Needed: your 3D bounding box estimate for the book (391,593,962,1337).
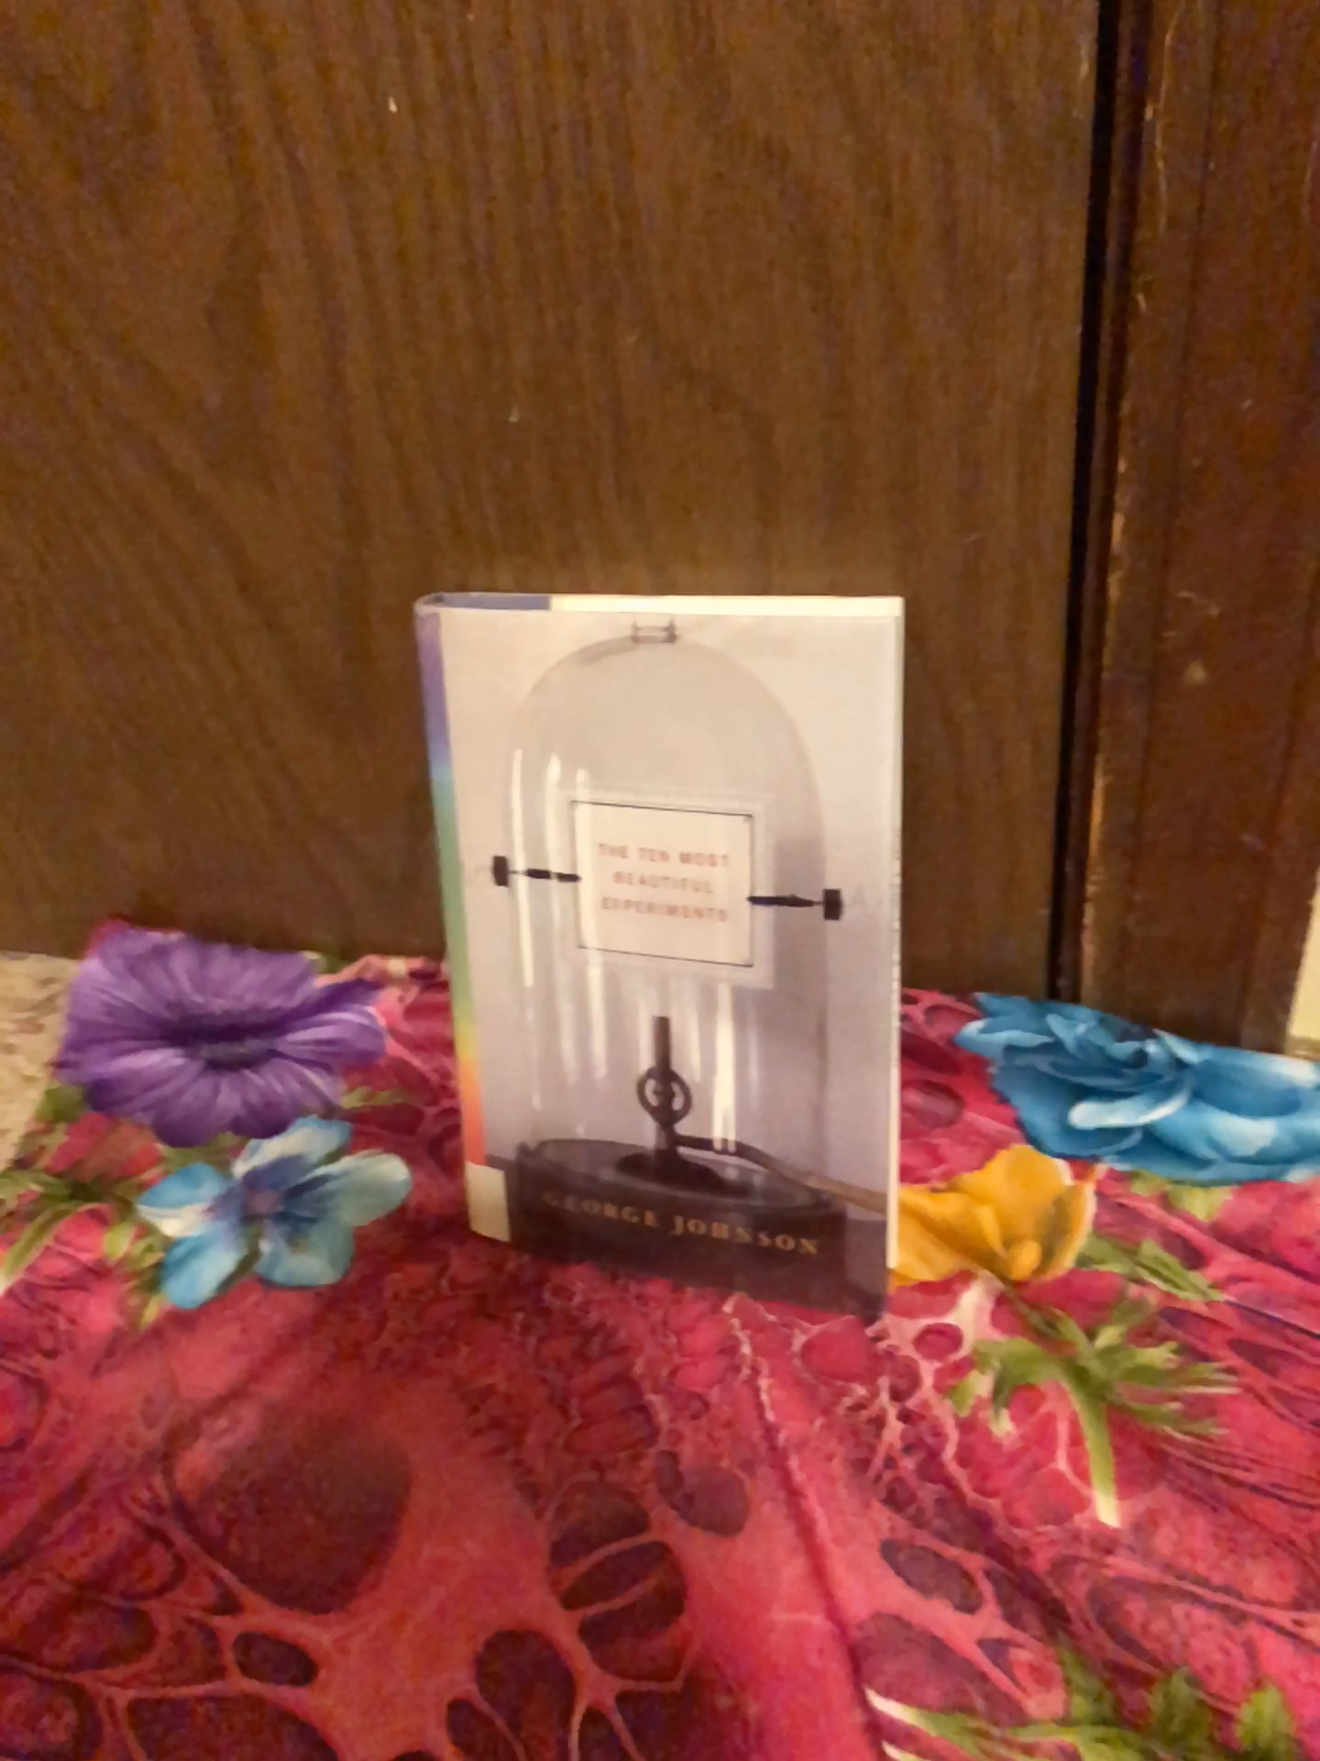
[{"bbox_3d":[0.005,0.022,0.398,0.140,0.190,0.033,5,20,18],"label":"book"}]
